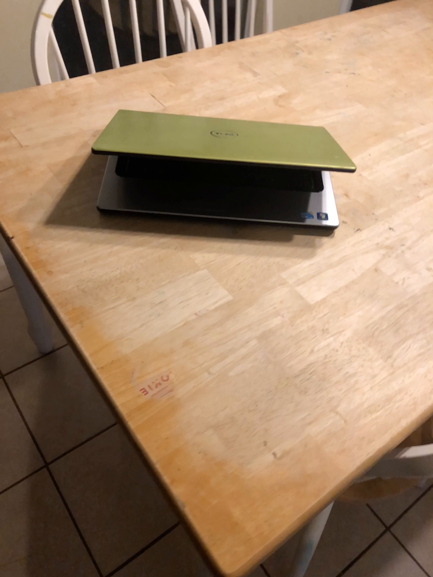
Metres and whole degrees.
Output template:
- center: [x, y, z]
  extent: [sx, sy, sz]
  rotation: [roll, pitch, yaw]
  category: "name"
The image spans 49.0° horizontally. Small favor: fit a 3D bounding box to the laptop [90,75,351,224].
- center: [0.005, -0.225, 0.750]
  extent: [0.358, 0.076, 0.228]
  rotation: [4, 51, -2]
  category: "laptop"
